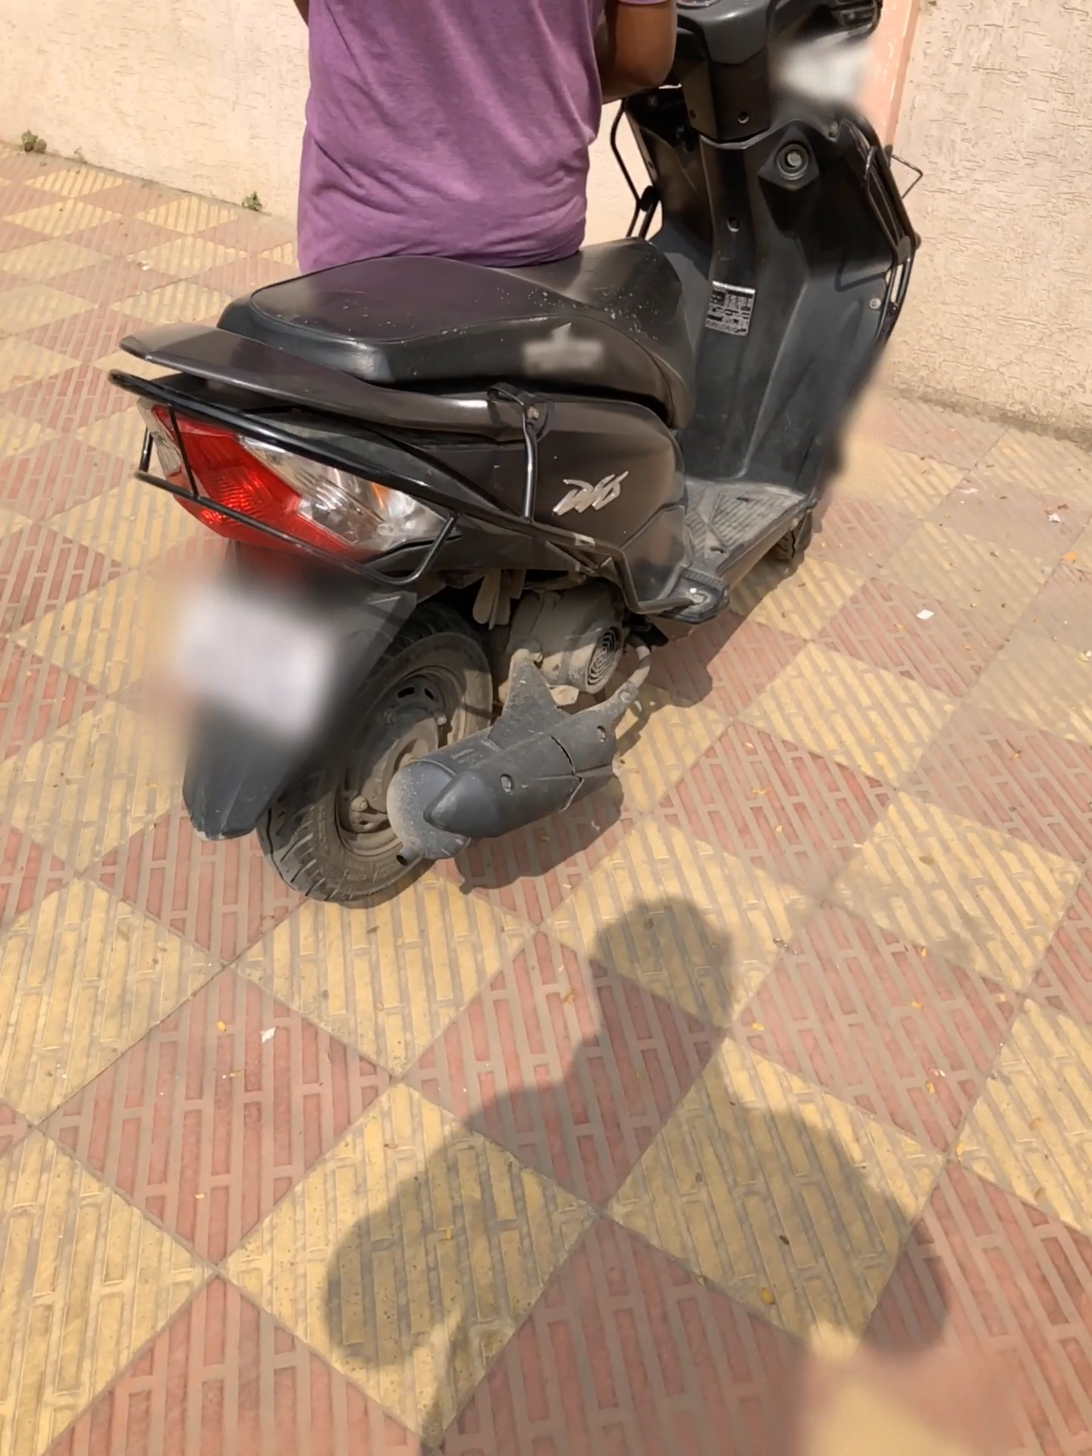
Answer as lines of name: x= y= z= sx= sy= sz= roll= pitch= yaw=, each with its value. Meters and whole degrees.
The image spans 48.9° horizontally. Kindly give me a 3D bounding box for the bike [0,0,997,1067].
bike: x=0.088 y=-0.483 z=1.746 sx=0.574 sy=0.987 sz=1.516 roll=20 pitch=40 yaw=21
